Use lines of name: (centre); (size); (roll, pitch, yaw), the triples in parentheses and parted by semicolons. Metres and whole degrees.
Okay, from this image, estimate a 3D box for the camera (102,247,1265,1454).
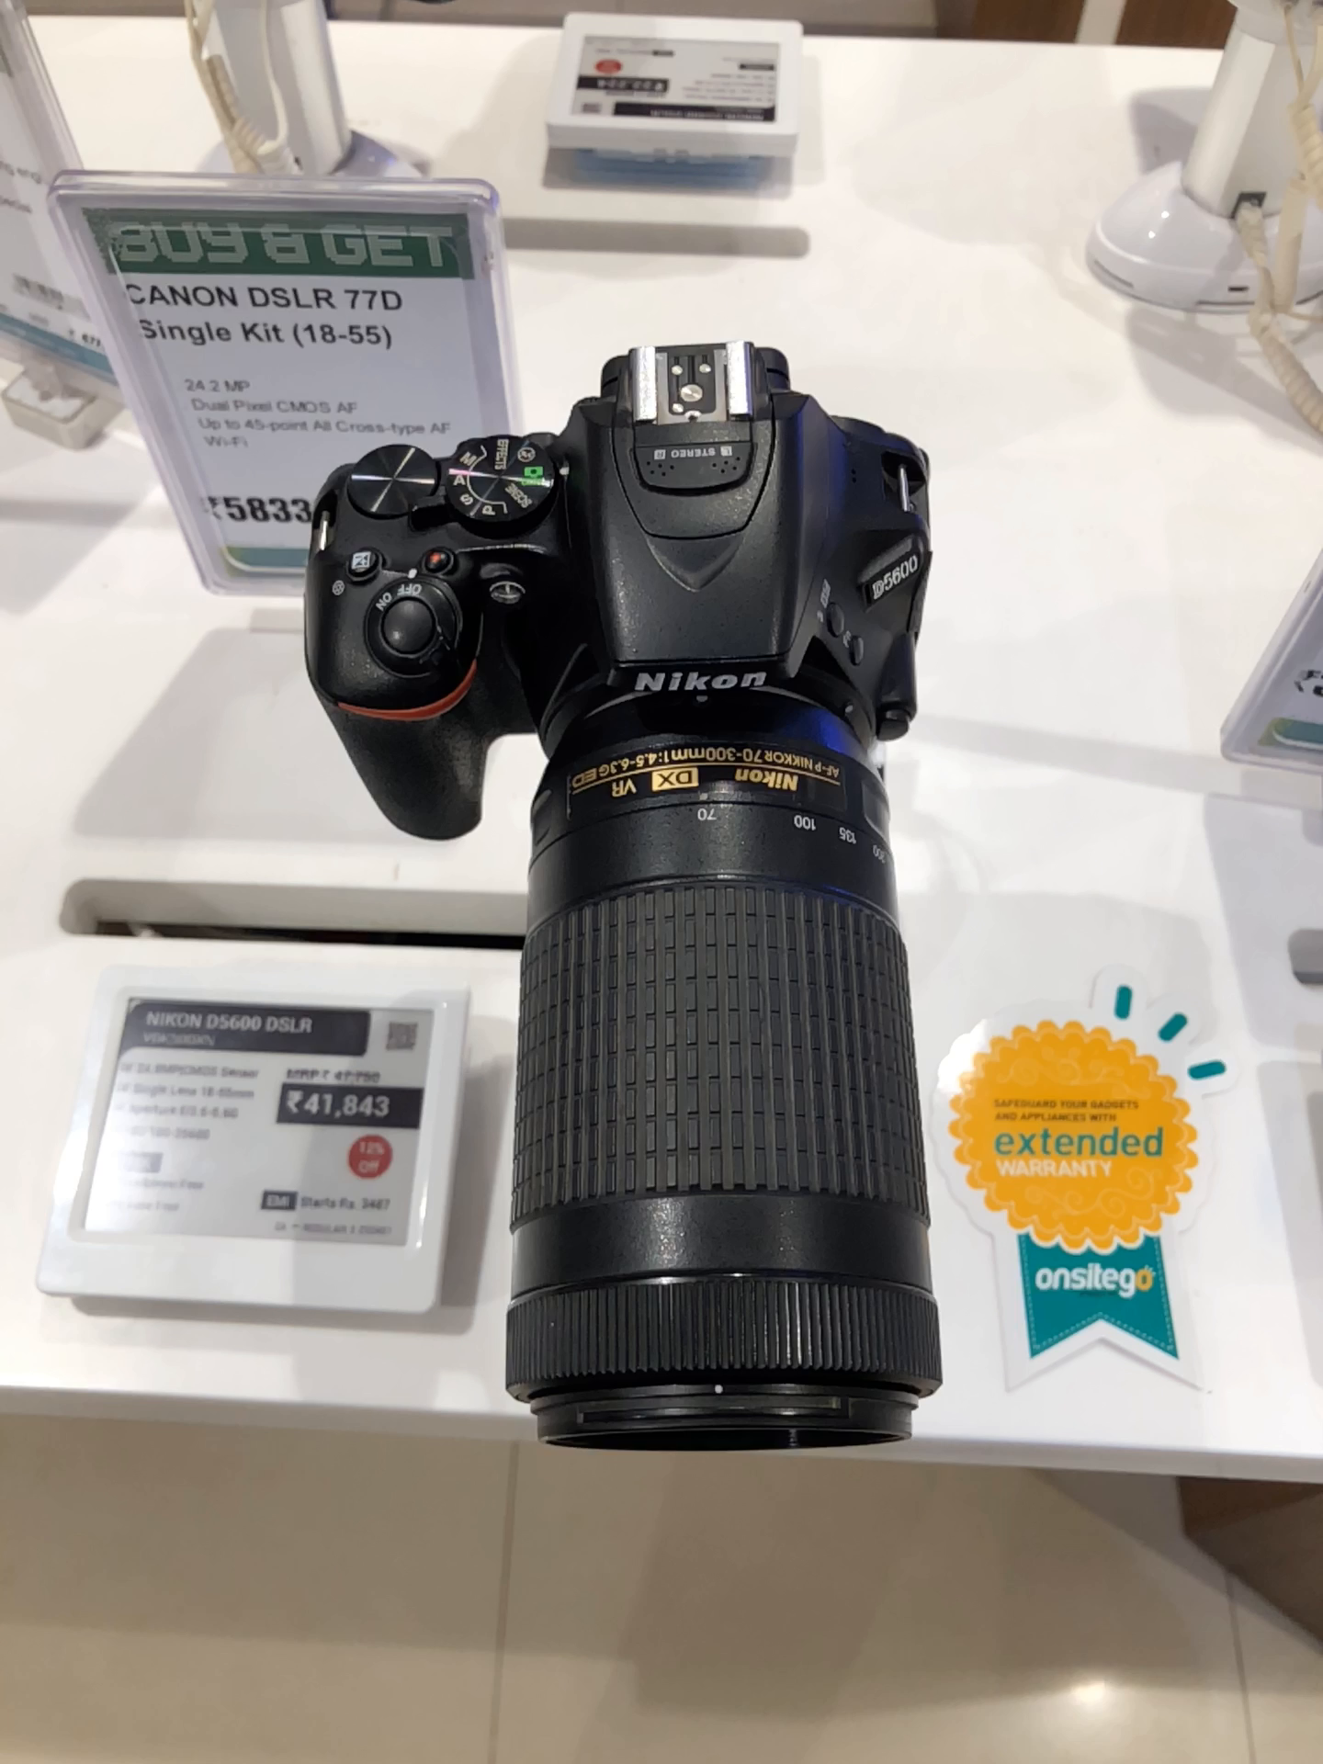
camera: (0.003, -0.010, 0.266); (0.140, 0.090, 0.201); (0, 60, 0)
